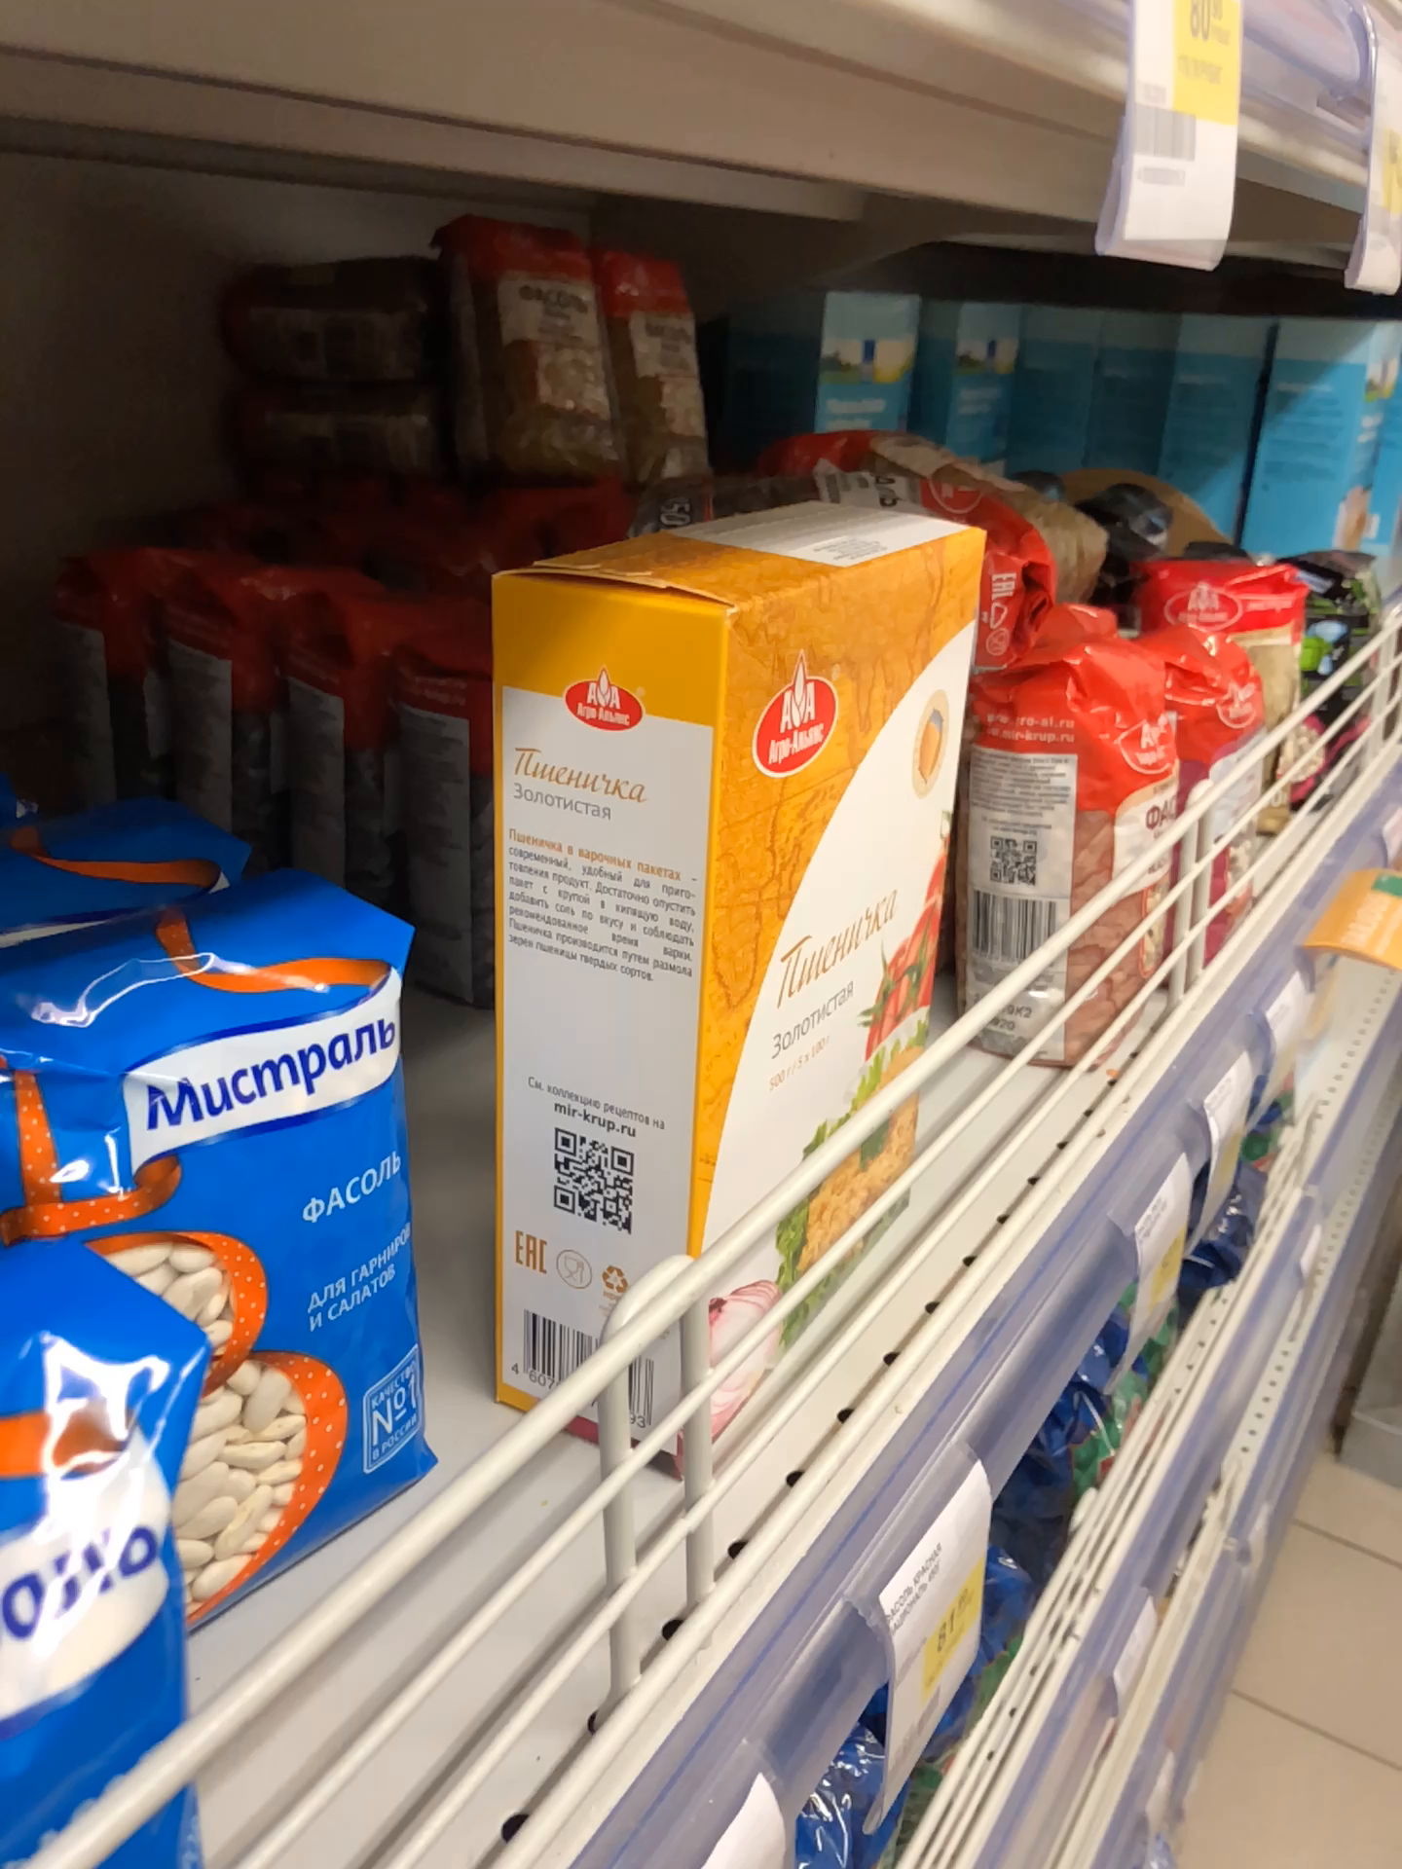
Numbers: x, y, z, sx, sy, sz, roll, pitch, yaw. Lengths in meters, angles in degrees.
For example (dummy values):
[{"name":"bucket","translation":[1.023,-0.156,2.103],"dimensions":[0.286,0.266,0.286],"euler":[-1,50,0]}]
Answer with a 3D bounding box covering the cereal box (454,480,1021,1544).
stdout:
[{"name":"cereal box","translation":[0.012,0.007,0.359],"dimensions":[0.060,0.199,0.141],"euler":[14,25,25]}]
